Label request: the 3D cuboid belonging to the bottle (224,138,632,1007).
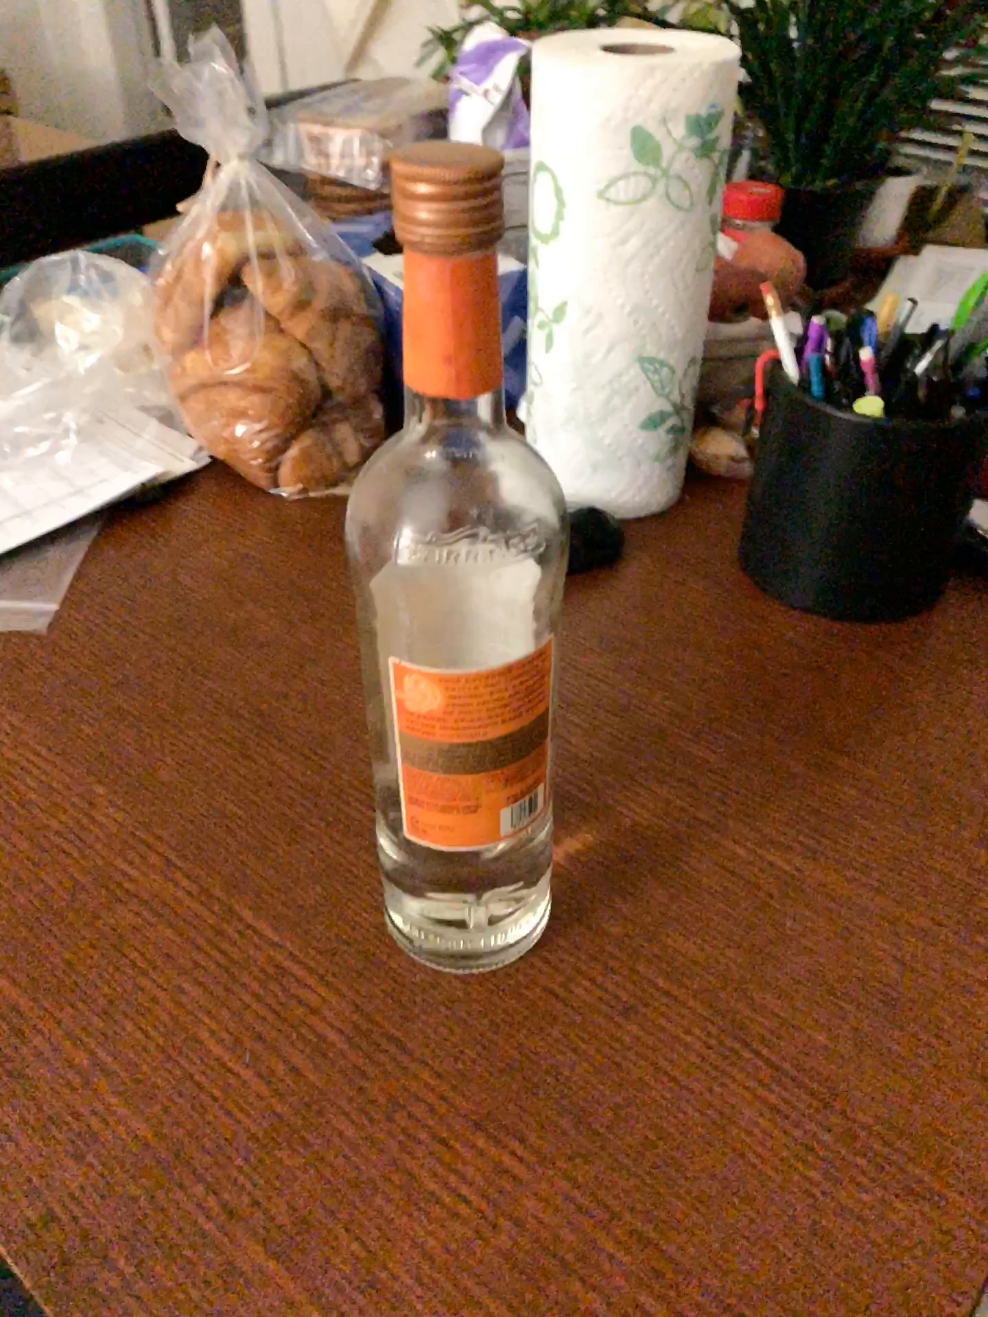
[{"bbox_3d":[-0.019,-0.004,0.349,0.090,0.298,0.080,-4,39,-5],"label":"bottle"}]
